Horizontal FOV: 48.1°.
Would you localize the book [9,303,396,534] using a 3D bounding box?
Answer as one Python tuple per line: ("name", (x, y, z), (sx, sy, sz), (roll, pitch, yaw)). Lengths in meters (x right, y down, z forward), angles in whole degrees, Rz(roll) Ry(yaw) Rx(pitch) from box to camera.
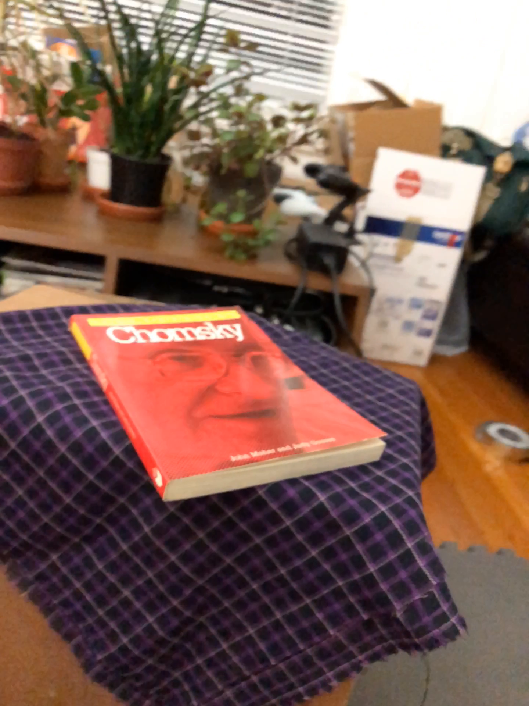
("book", (-0.058, 0.018, 0.406), (0.180, 0.020, 0.241), (-3, 27, -31))
